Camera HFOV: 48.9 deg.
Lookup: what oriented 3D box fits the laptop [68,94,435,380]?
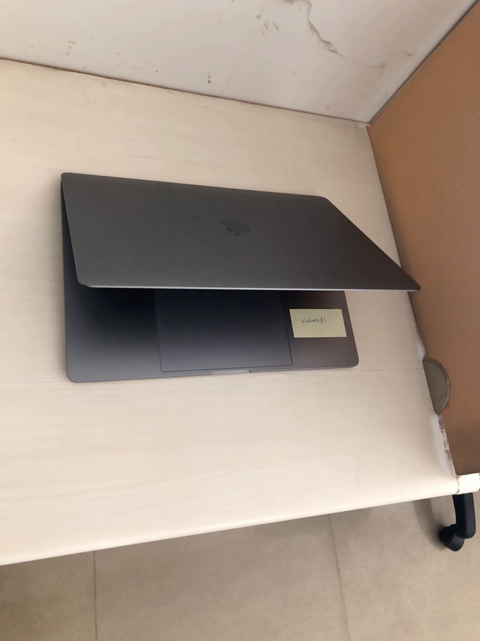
[{"bbox_3d":[0.000,-0.075,0.556,0.330,0.134,0.233,0,69,-23],"label":"laptop"}]
